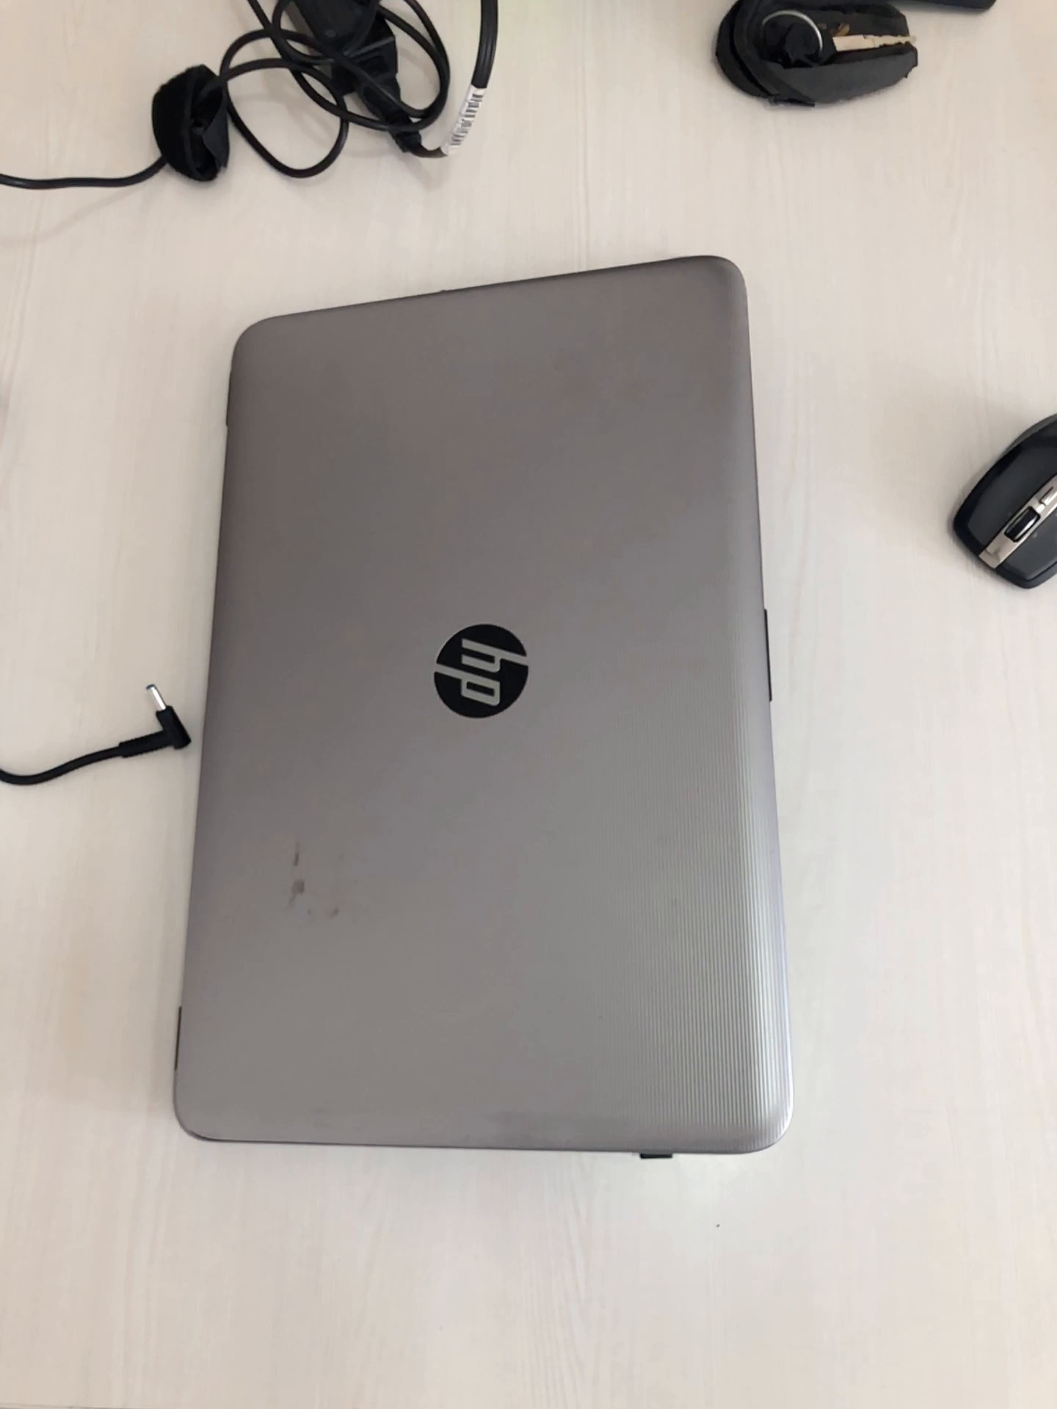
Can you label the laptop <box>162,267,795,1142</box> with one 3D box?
[{"bbox_3d":[-0.016,-0.011,0.494,0.226,0.062,0.356,0,75,-1],"label":"laptop"}]
